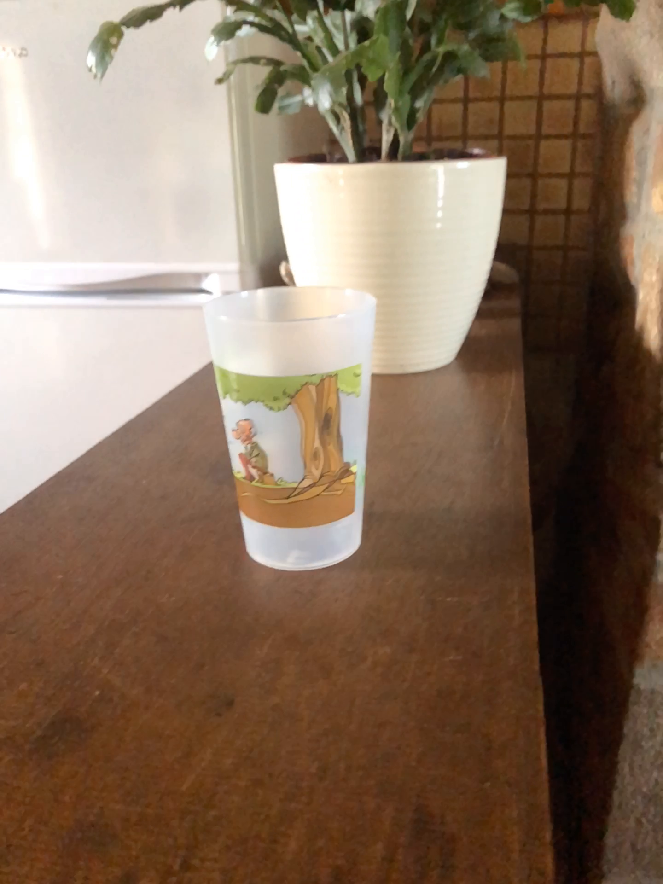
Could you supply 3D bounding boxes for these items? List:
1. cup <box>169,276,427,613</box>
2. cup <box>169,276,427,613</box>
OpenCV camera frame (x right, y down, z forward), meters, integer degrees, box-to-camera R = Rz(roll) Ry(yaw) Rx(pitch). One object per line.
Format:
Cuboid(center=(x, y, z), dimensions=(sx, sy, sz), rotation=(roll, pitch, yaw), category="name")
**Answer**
Cuboid(center=(-0.015, -0.006, 0.333), dimensions=(0.080, 0.119, 0.080), rotation=(-1, 21, 1), category="cup")
Cuboid(center=(-0.015, -0.006, 0.333), dimensions=(0.080, 0.119, 0.080), rotation=(-1, 21, 1), category="cup")
